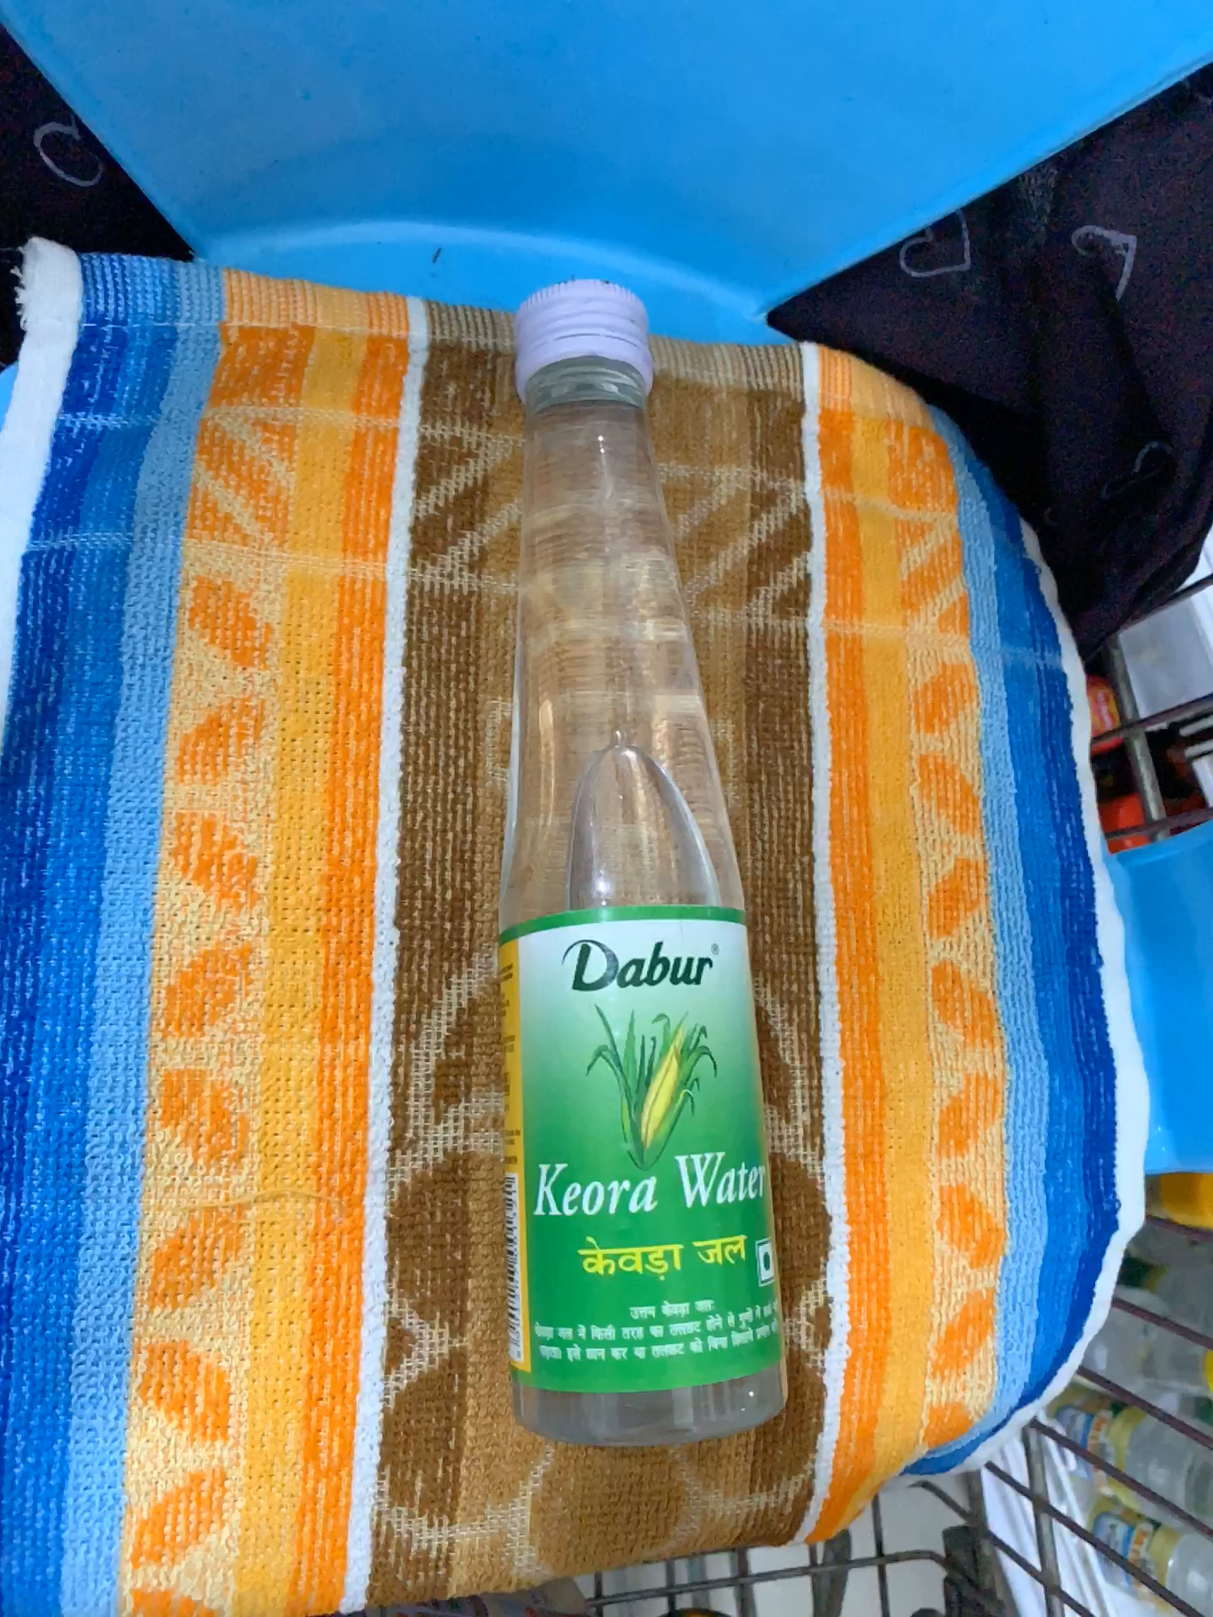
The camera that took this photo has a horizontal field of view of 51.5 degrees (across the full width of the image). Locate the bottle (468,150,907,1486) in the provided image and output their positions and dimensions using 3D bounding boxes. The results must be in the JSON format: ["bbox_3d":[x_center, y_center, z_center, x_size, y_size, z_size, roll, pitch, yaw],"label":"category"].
[{"bbox_3d":[0.008,-0.003,0.216,0.050,0.050,0.200,-1,82,-14],"label":"bottle"}]
